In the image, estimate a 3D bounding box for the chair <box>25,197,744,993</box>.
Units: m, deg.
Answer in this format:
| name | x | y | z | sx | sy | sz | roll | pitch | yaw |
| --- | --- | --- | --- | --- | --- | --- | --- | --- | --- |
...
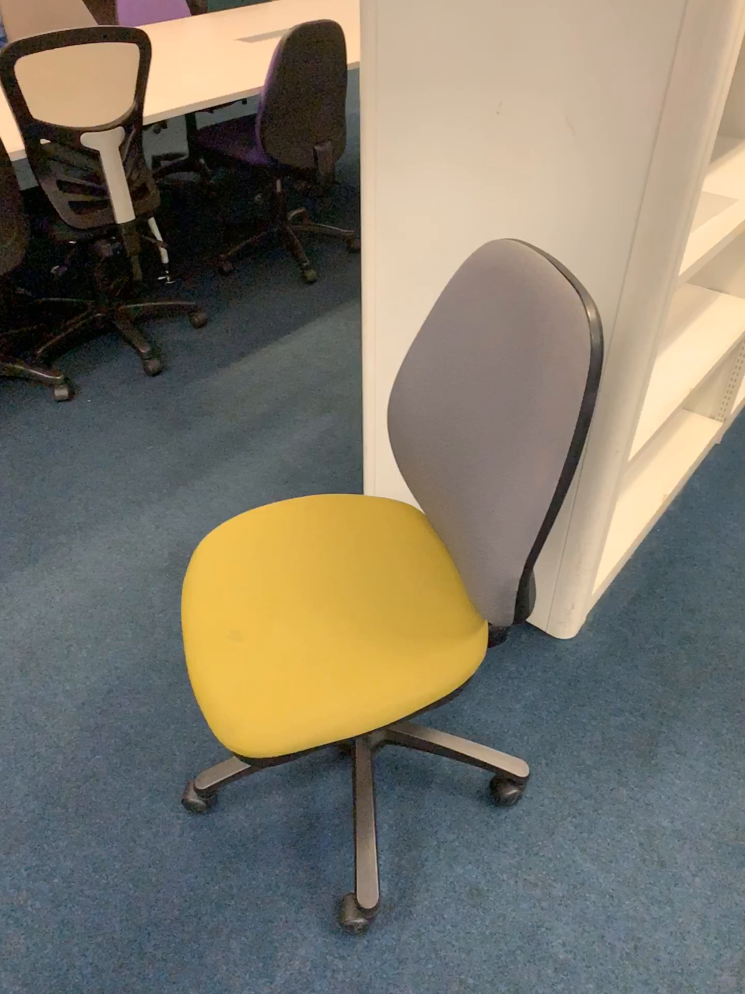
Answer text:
| name | x | y | z | sx | sy | sz | roll | pitch | yaw |
| --- | --- | --- | --- | --- | --- | --- | --- | --- | --- |
| chair | -0.043 | 0.143 | 1.174 | 0.661 | 0.920 | 0.646 | -11 | 41 | -13 |
